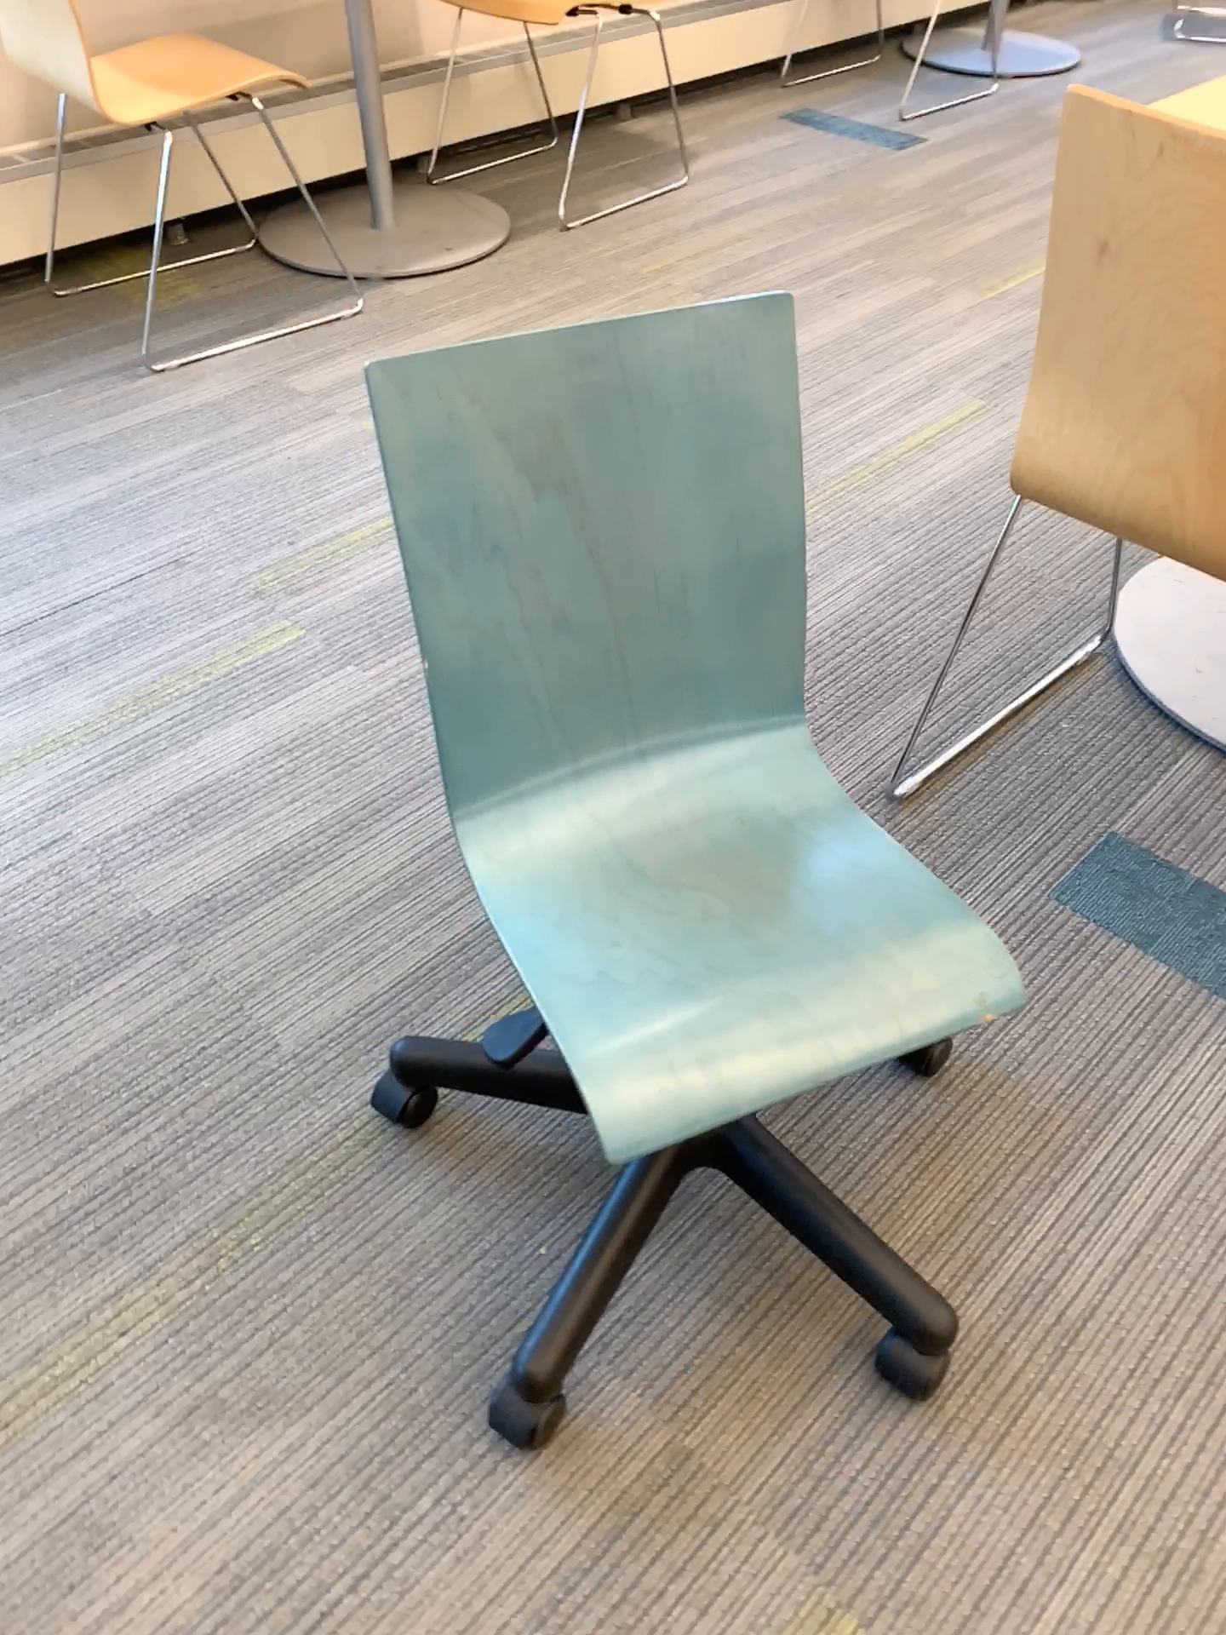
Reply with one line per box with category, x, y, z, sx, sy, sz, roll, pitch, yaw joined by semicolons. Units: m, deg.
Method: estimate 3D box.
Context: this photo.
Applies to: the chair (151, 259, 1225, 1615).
chair;0.085;0.055;0.969;0.600;0.667;0.612;-18;46;-19
